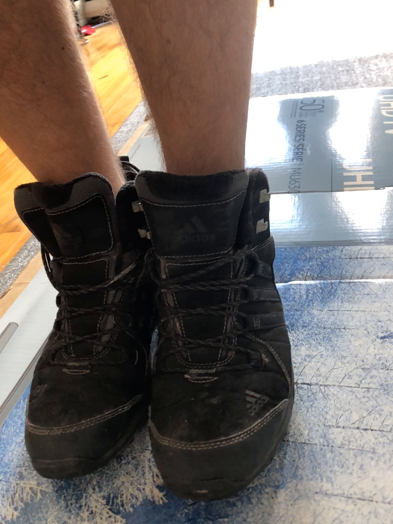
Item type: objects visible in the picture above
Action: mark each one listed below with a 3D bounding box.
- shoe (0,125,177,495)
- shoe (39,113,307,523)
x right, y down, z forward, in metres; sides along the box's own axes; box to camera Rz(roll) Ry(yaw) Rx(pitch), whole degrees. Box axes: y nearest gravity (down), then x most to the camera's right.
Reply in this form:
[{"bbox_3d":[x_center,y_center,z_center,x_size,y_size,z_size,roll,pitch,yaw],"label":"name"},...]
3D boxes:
[{"bbox_3d":[-0.107,0.021,0.385,0.110,0.169,0.282,-7,37,11],"label":"shoe"},{"bbox_3d":[0.010,0.021,0.349,0.110,0.169,0.282,-7,37,11],"label":"shoe"}]
